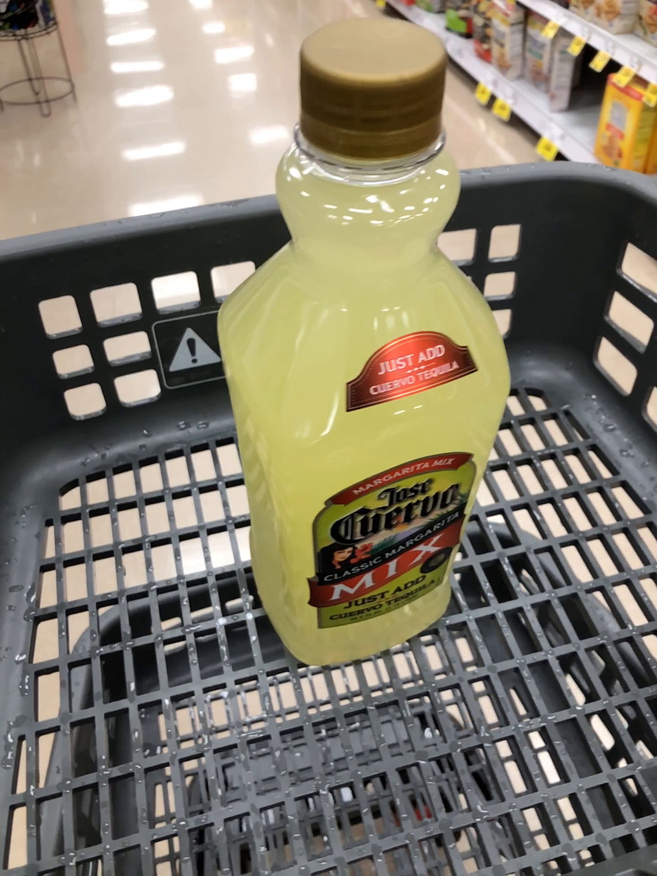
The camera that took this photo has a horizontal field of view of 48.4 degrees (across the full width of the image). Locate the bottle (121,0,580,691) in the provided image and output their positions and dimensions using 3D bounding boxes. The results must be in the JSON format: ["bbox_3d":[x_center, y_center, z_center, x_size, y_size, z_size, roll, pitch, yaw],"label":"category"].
[{"bbox_3d":[0.006,-0.012,0.309,0.110,0.279,0.080,-16,47,-13],"label":"bottle"}]
